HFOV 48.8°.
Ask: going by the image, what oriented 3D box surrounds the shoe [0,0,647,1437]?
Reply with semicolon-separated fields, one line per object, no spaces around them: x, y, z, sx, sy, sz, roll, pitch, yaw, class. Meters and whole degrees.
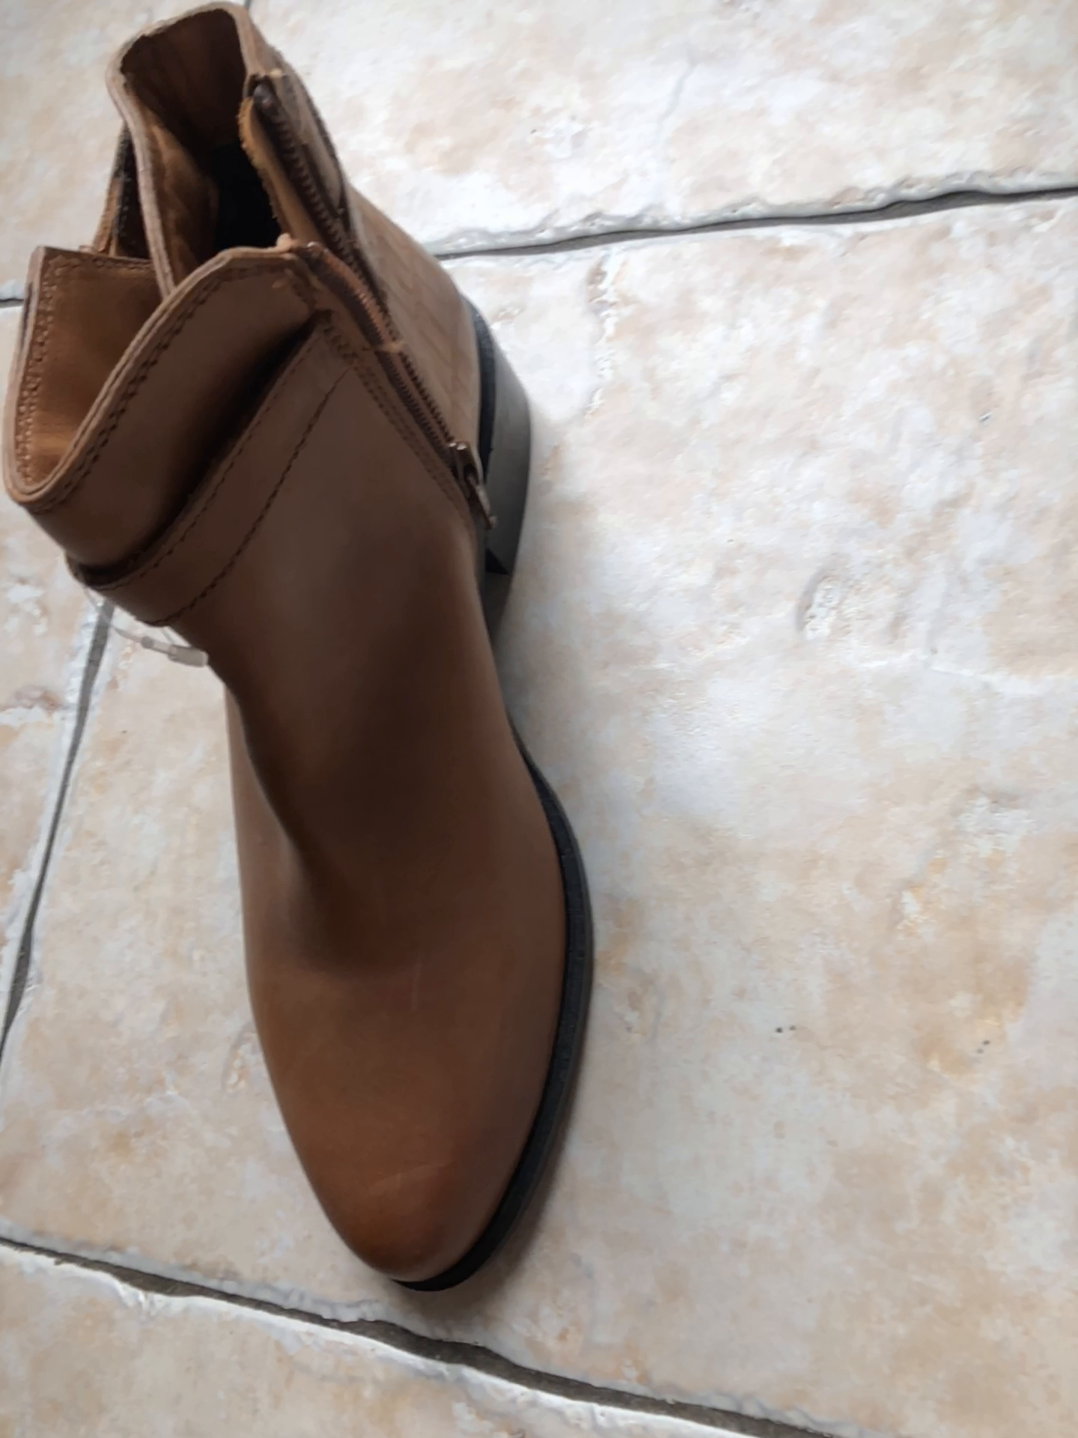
-0.047;-0.018;0.277;0.090;0.180;0.301;-6;72;20;shoe
